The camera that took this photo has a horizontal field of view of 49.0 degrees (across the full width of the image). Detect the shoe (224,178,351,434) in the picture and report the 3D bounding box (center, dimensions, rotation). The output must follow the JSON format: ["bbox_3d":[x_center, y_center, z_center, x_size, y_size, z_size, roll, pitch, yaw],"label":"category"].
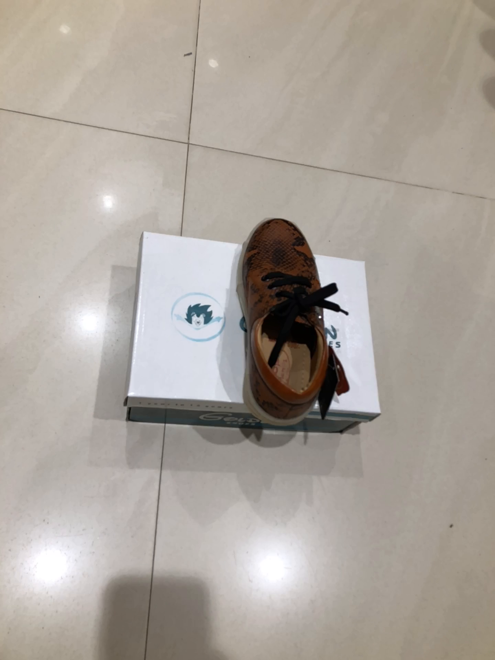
[{"bbox_3d":[0.030,-0.020,0.481,0.080,0.090,0.201,6,65,-12],"label":"shoe"}]
